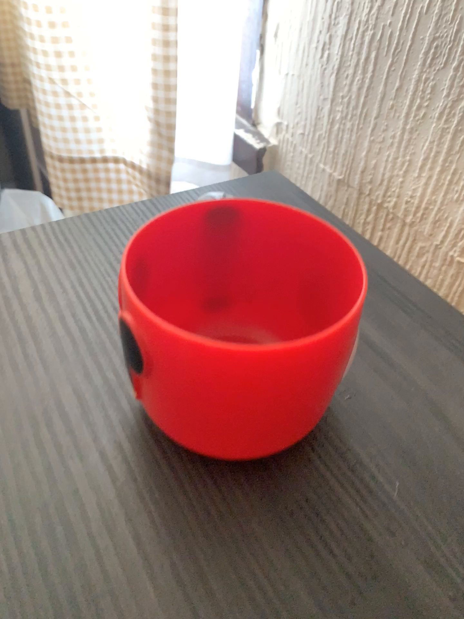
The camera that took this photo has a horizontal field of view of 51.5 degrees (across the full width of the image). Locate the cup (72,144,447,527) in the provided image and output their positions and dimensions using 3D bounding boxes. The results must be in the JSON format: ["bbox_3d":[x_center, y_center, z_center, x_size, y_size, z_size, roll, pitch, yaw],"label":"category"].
[{"bbox_3d":[-0.006,-0.003,0.196,0.100,0.069,0.131,-8,44,-14],"label":"cup"}]
